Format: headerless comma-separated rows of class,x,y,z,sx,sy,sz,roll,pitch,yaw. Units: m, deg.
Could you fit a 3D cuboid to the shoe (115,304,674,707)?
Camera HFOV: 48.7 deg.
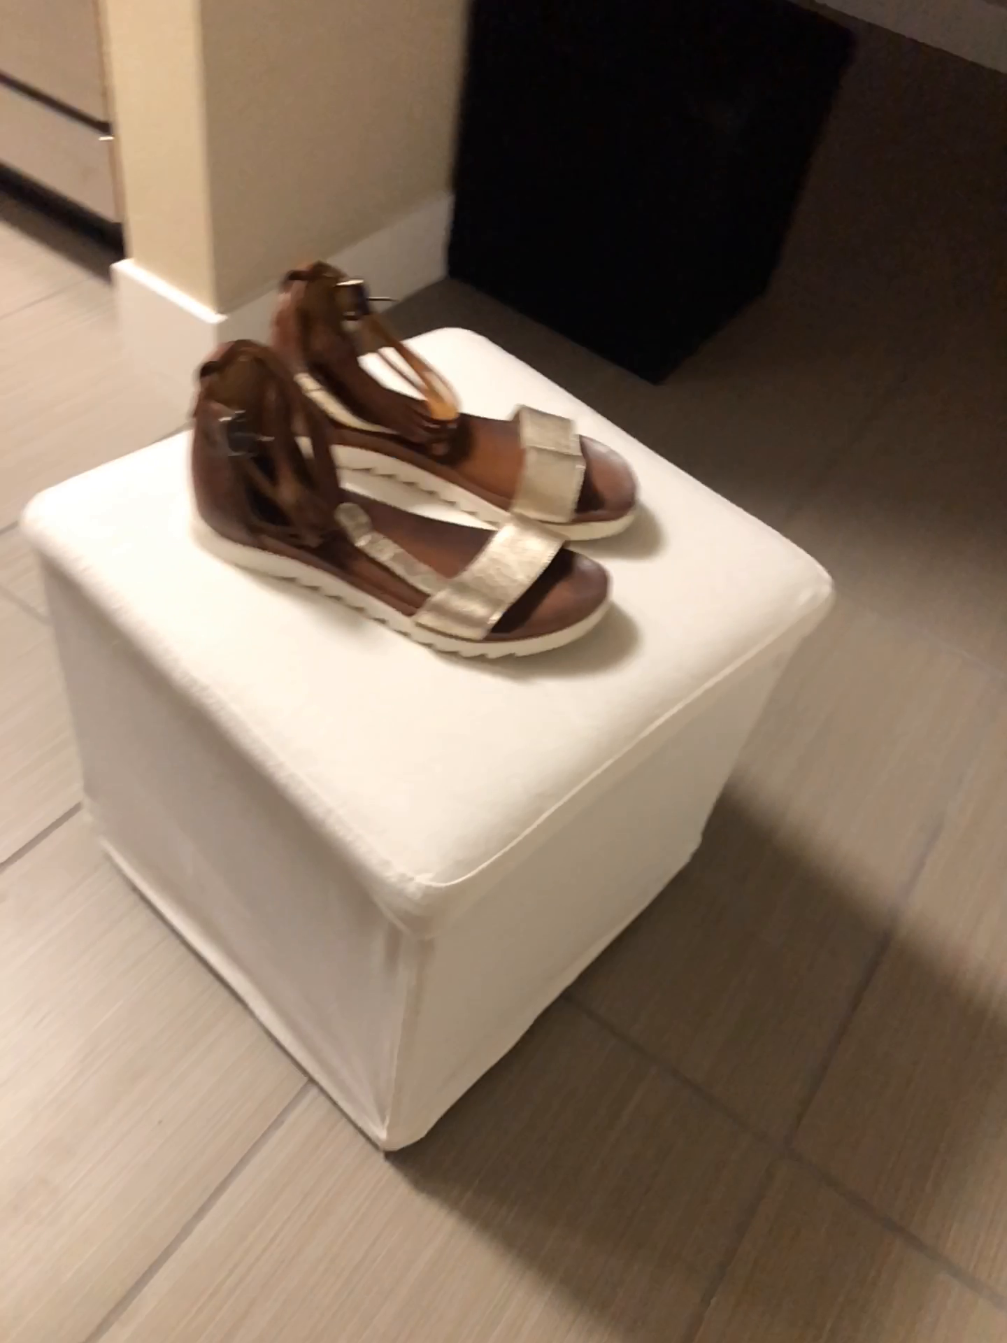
shoe,-0.056,-0.092,0.596,0.260,0.090,0.111,20,48,6

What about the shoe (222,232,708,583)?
shoe,-0.024,-0.163,0.674,0.260,0.090,0.111,20,48,6
